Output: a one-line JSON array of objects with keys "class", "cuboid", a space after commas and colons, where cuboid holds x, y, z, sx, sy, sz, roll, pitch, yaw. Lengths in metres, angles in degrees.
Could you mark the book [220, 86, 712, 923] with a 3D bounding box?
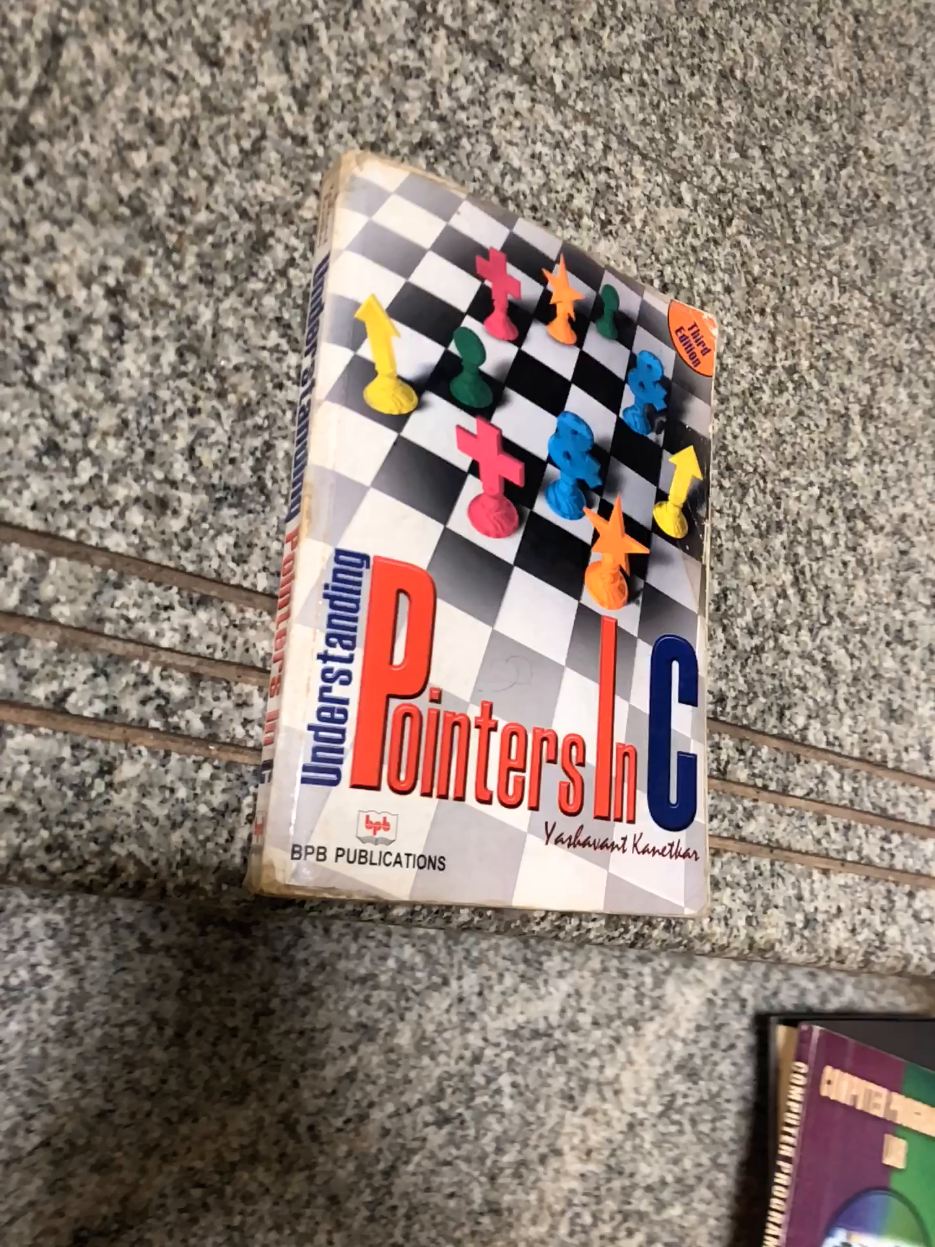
[{"class": "book", "cuboid": [0.012, -0.028, 0.310, 0.141, 0.030, 0.220, 13, 73, -31]}]
